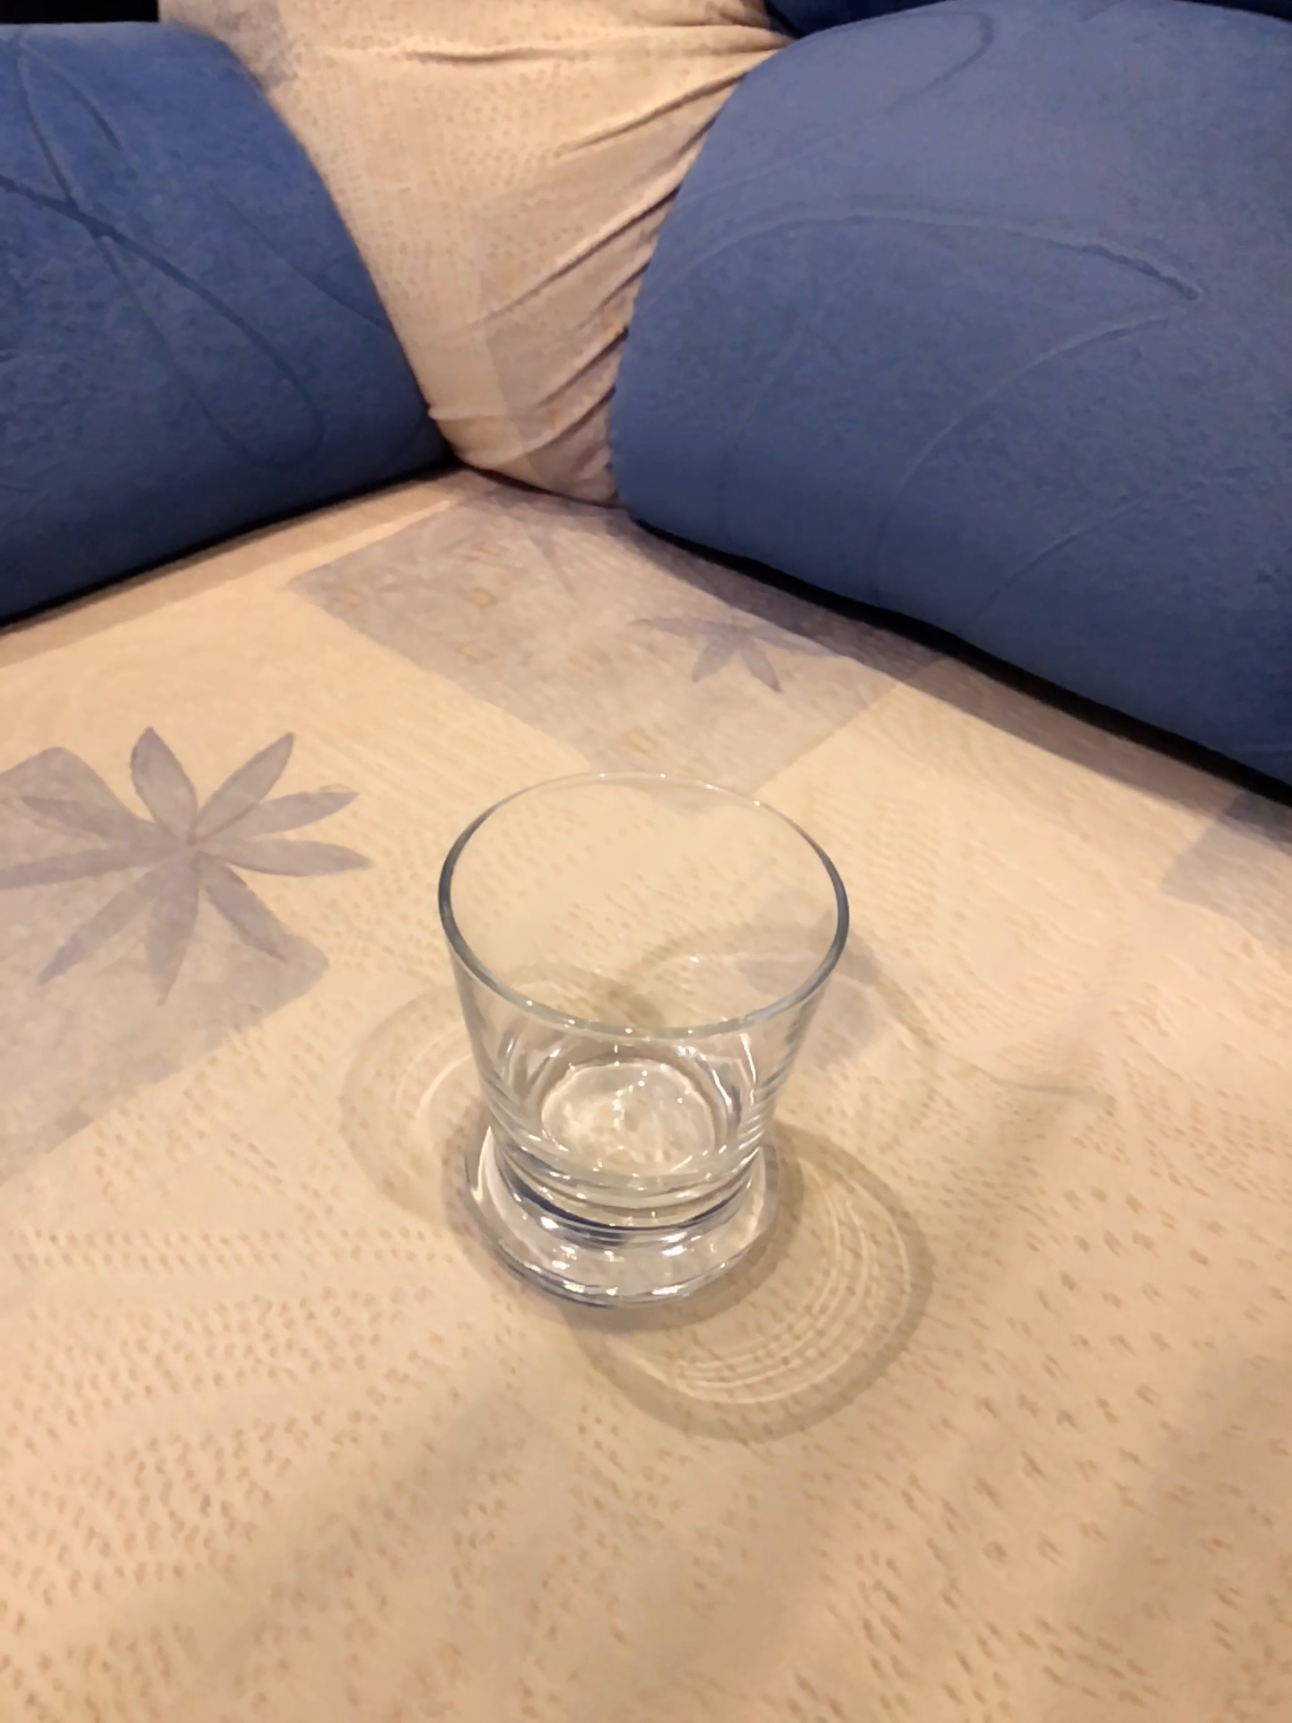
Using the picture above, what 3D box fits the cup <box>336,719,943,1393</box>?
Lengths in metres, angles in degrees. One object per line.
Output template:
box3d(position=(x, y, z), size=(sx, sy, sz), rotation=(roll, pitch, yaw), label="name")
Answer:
box3d(position=(-0.003, 0.036, 0.308), size=(0.087, 0.083, 0.085), rotation=(2, 37, -2), label="cup")
